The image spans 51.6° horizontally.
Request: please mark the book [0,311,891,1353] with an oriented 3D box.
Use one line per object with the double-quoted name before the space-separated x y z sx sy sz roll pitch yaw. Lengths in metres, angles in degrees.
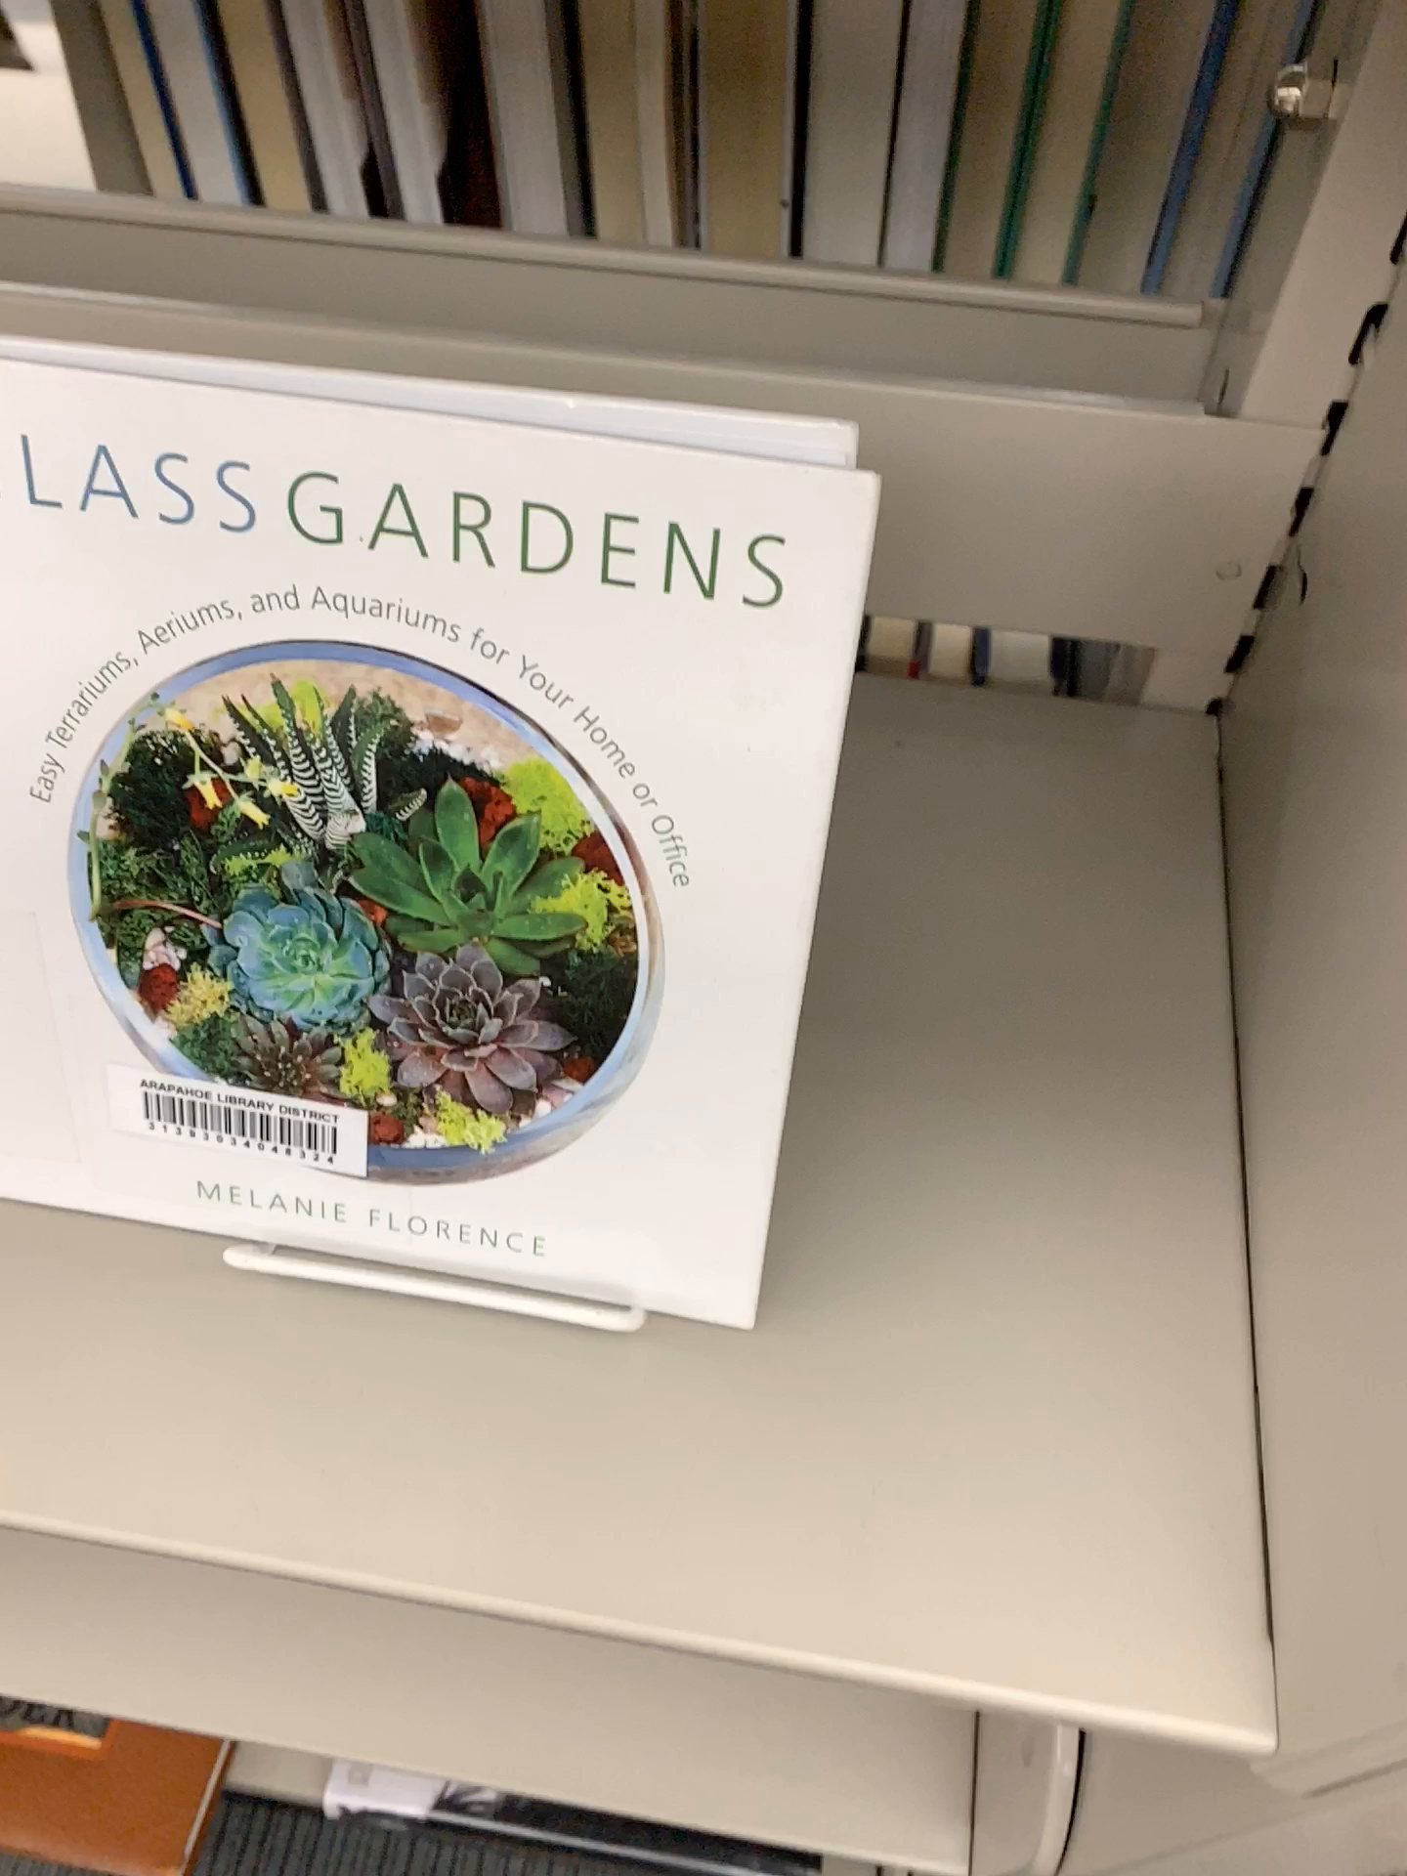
"book" -0.068 -0.012 0.271 0.180 0.174 0.030 8 30 5
